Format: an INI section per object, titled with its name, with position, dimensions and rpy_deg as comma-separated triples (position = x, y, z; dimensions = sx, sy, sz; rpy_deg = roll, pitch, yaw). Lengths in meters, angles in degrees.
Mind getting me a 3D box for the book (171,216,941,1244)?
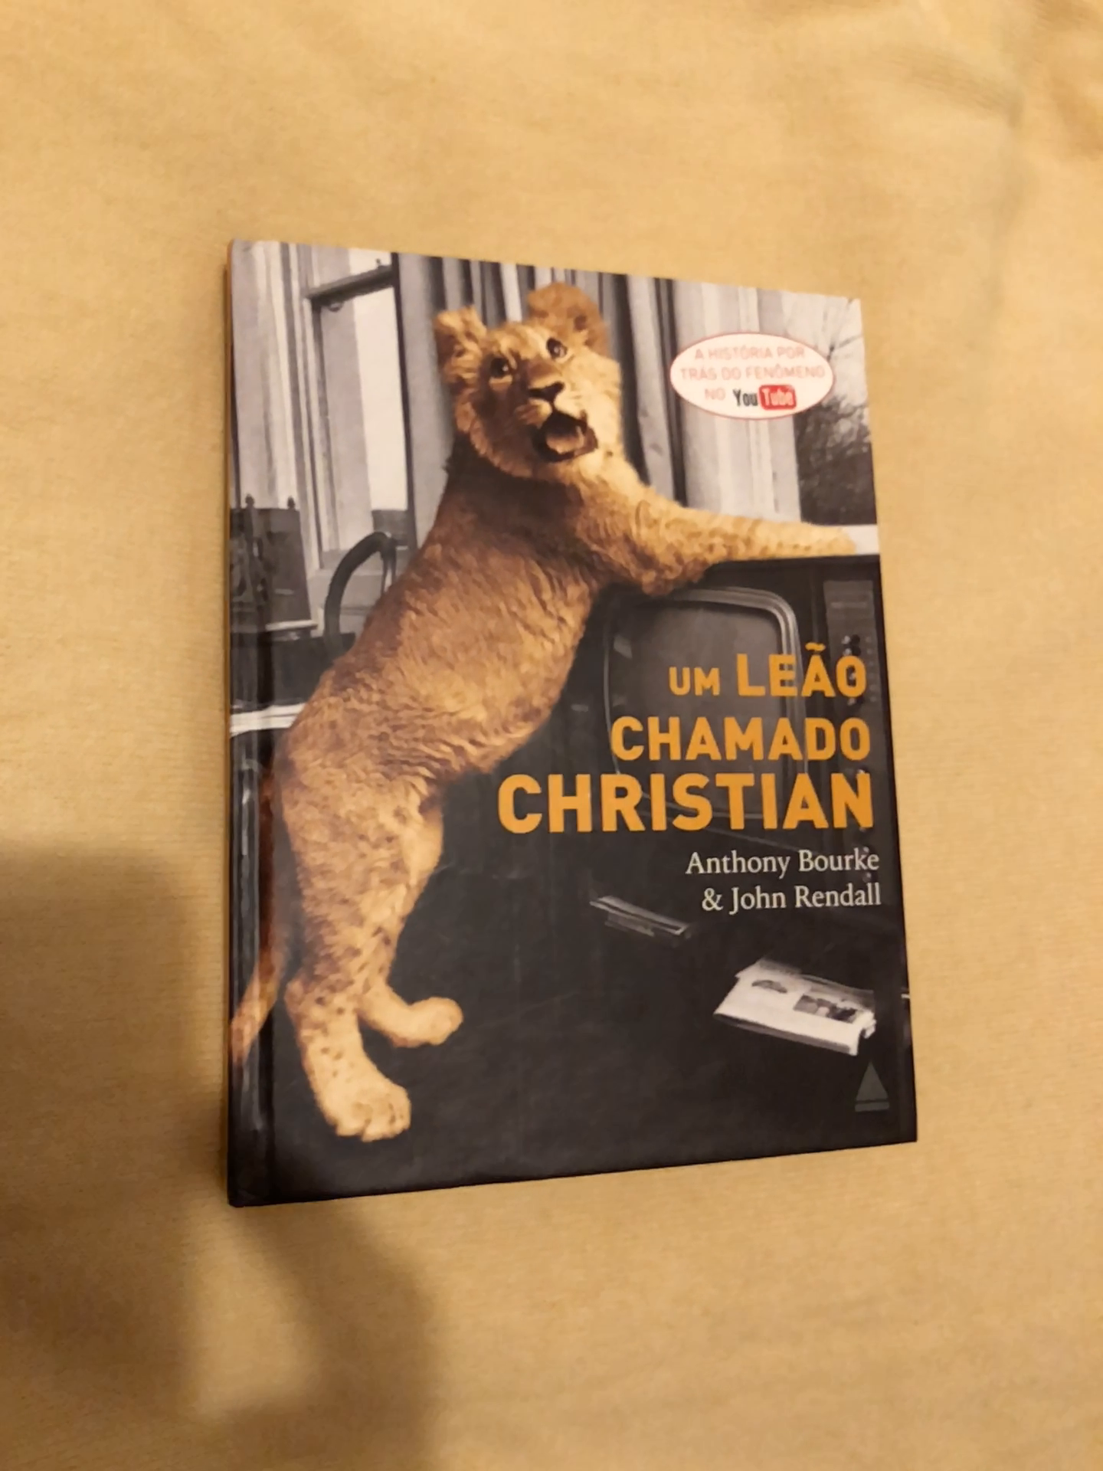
[book]
position = -0.002, -0.007, 0.265
dimensions = 0.150, 0.030, 0.200
rpy_deg = -1, 80, -12
